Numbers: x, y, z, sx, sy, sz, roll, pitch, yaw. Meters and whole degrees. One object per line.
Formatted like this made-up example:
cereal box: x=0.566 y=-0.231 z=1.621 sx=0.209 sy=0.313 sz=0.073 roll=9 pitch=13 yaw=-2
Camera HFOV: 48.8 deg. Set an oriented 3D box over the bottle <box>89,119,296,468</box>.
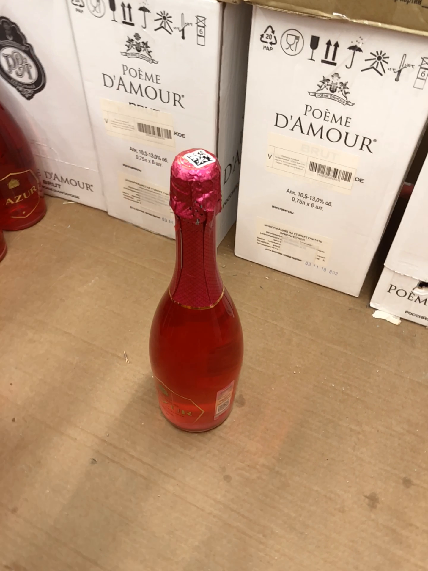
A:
bottle: x=-0.018 y=0.036 z=0.410 sx=0.090 sy=0.320 sz=0.090 roll=1 pitch=49 yaw=-2
